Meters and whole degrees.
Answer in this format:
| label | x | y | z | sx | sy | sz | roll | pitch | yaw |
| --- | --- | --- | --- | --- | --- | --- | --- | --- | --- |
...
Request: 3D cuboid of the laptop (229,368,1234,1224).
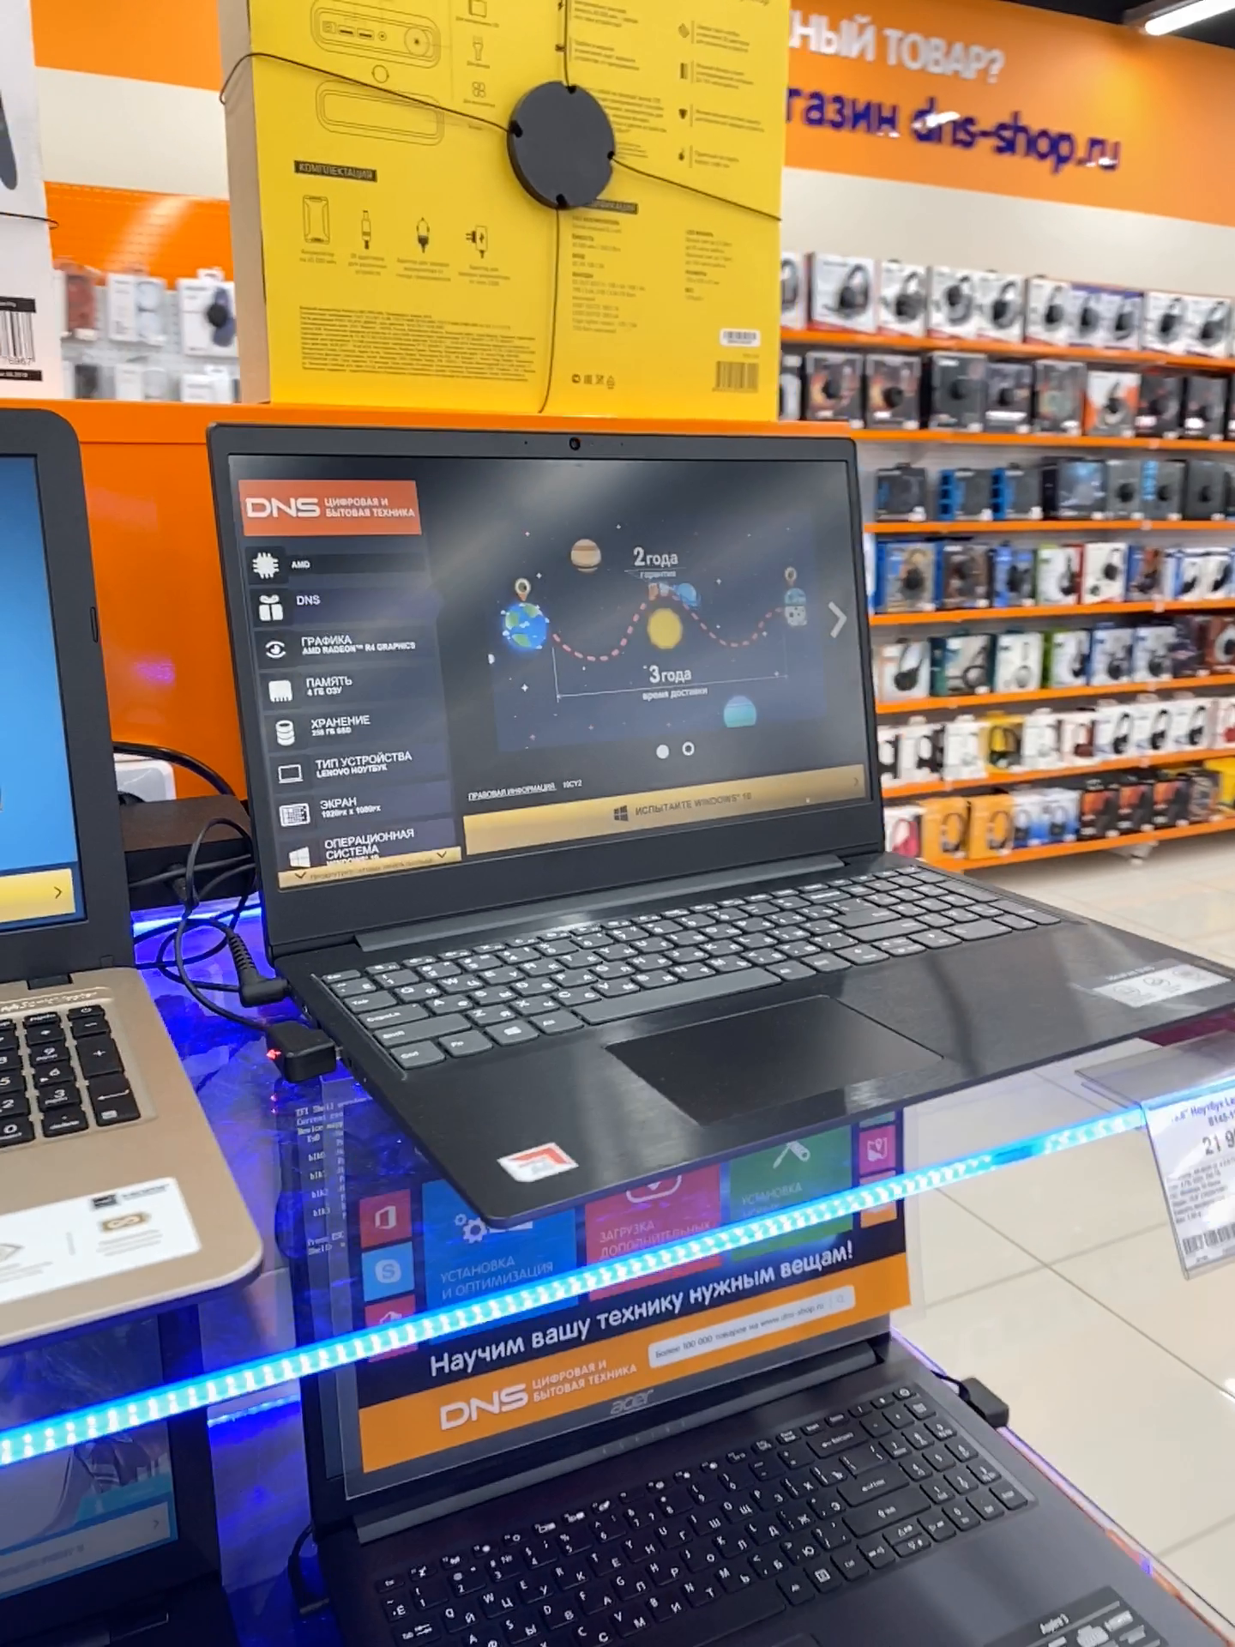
| label | x | y | z | sx | sy | sz | roll | pitch | yaw |
| --- | --- | --- | --- | --- | --- | --- | --- | --- | --- |
| laptop | 0.053 | -0.053 | 0.548 | 0.359 | 0.233 | 0.298 | -8 | 16 | -28 |
